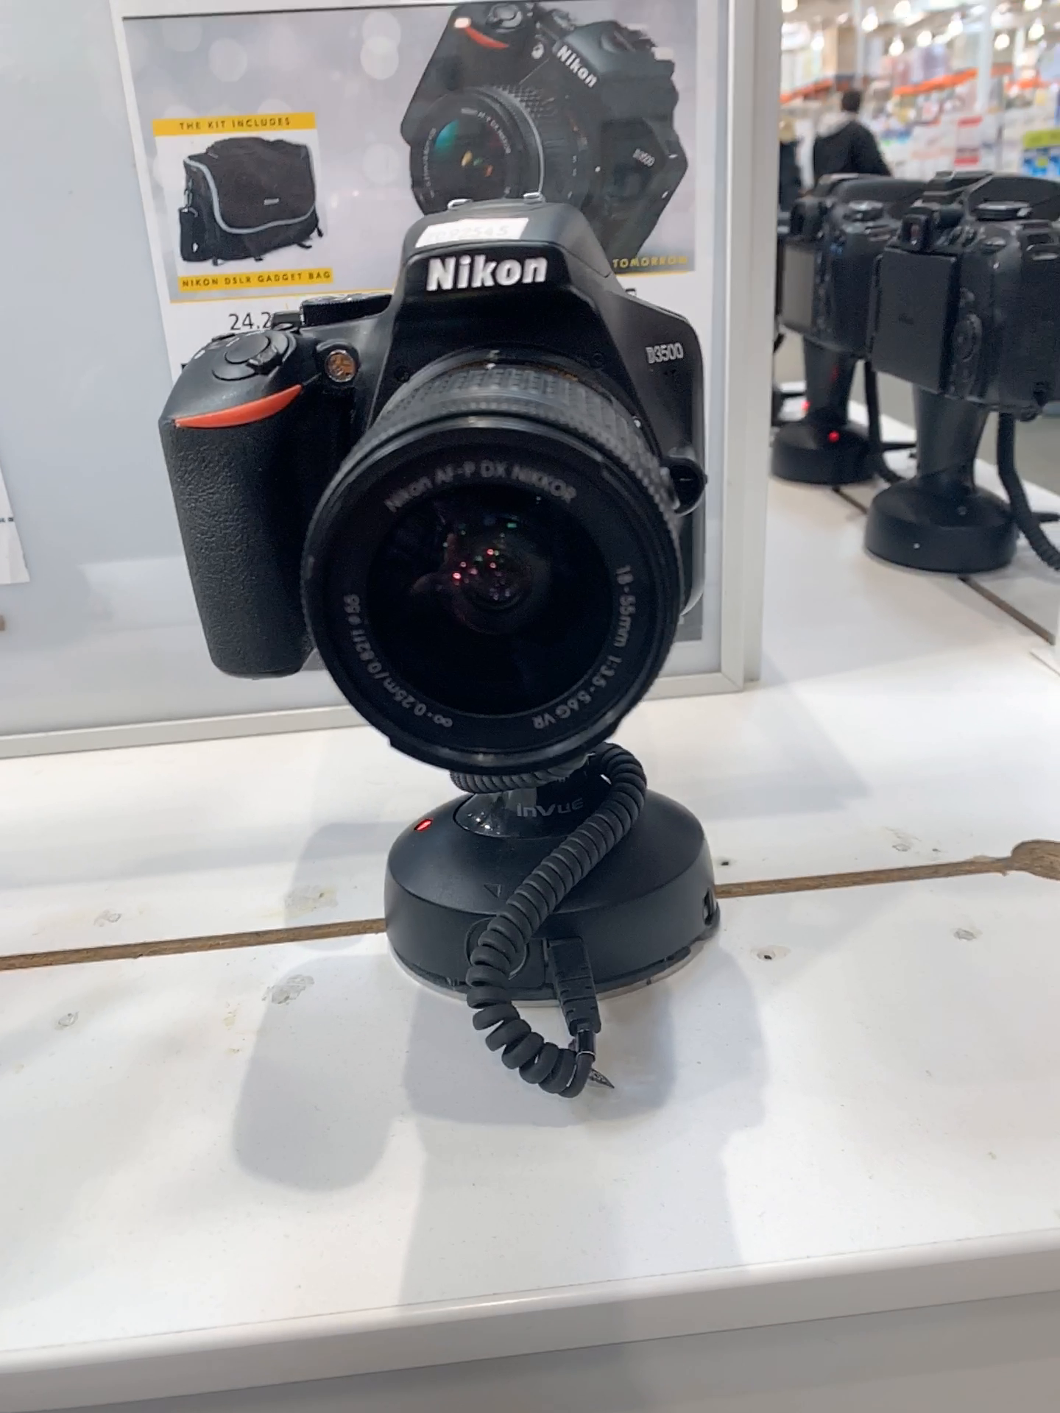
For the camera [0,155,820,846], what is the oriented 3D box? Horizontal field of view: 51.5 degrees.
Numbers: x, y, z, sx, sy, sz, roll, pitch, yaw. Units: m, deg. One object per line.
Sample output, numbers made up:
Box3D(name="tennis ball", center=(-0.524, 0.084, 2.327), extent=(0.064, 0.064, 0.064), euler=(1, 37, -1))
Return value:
Box3D(name="camera", center=(-0.017, -0.050, 0.225), extent=(0.116, 0.099, 0.121), euler=(-4, 24, 0))
